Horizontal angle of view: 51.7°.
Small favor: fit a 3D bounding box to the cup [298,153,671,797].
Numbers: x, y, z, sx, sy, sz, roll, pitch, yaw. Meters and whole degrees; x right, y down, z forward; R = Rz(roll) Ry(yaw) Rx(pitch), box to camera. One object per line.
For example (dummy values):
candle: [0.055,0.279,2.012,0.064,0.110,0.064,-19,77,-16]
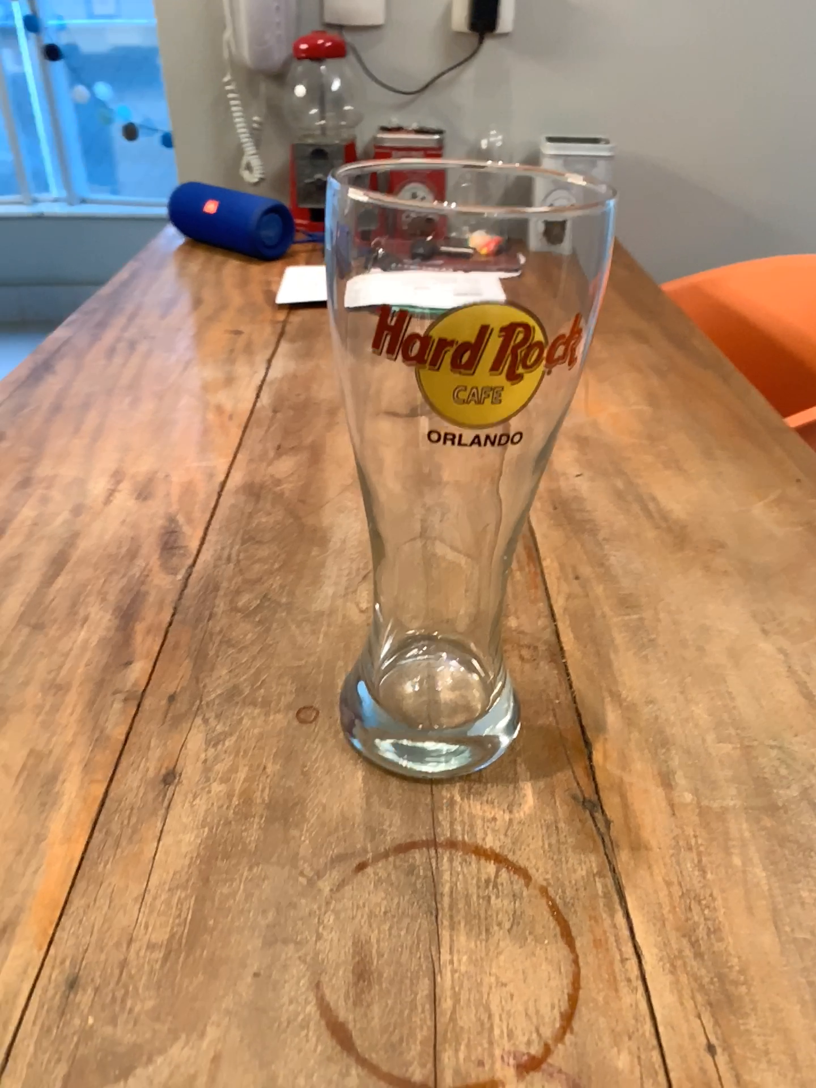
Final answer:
cup: [0.014,-0.018,0.294,0.090,0.201,0.091,0,34,0]
